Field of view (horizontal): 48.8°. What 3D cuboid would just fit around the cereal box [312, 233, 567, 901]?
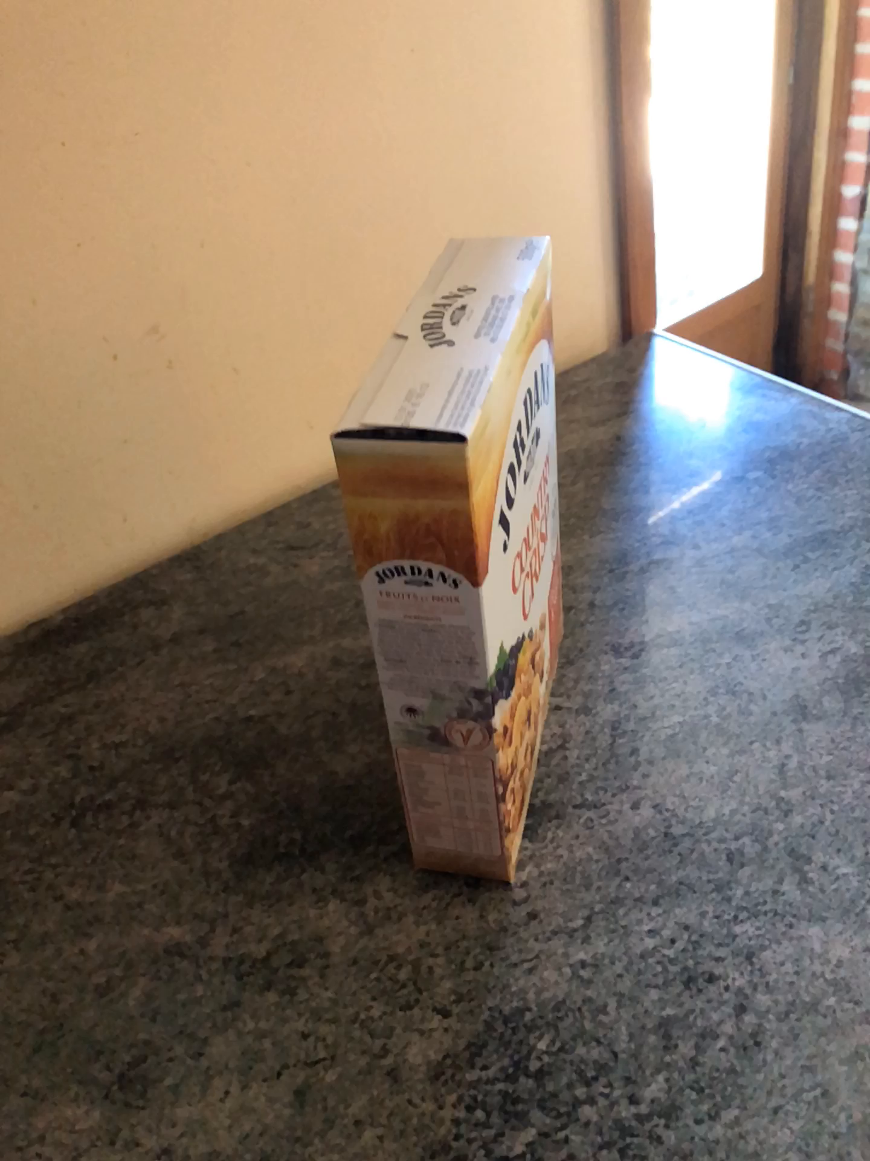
[{"bbox_3d":[0.021,-0.008,0.458,0.060,0.249,0.191,3,37,13],"label":"cereal box"}]
